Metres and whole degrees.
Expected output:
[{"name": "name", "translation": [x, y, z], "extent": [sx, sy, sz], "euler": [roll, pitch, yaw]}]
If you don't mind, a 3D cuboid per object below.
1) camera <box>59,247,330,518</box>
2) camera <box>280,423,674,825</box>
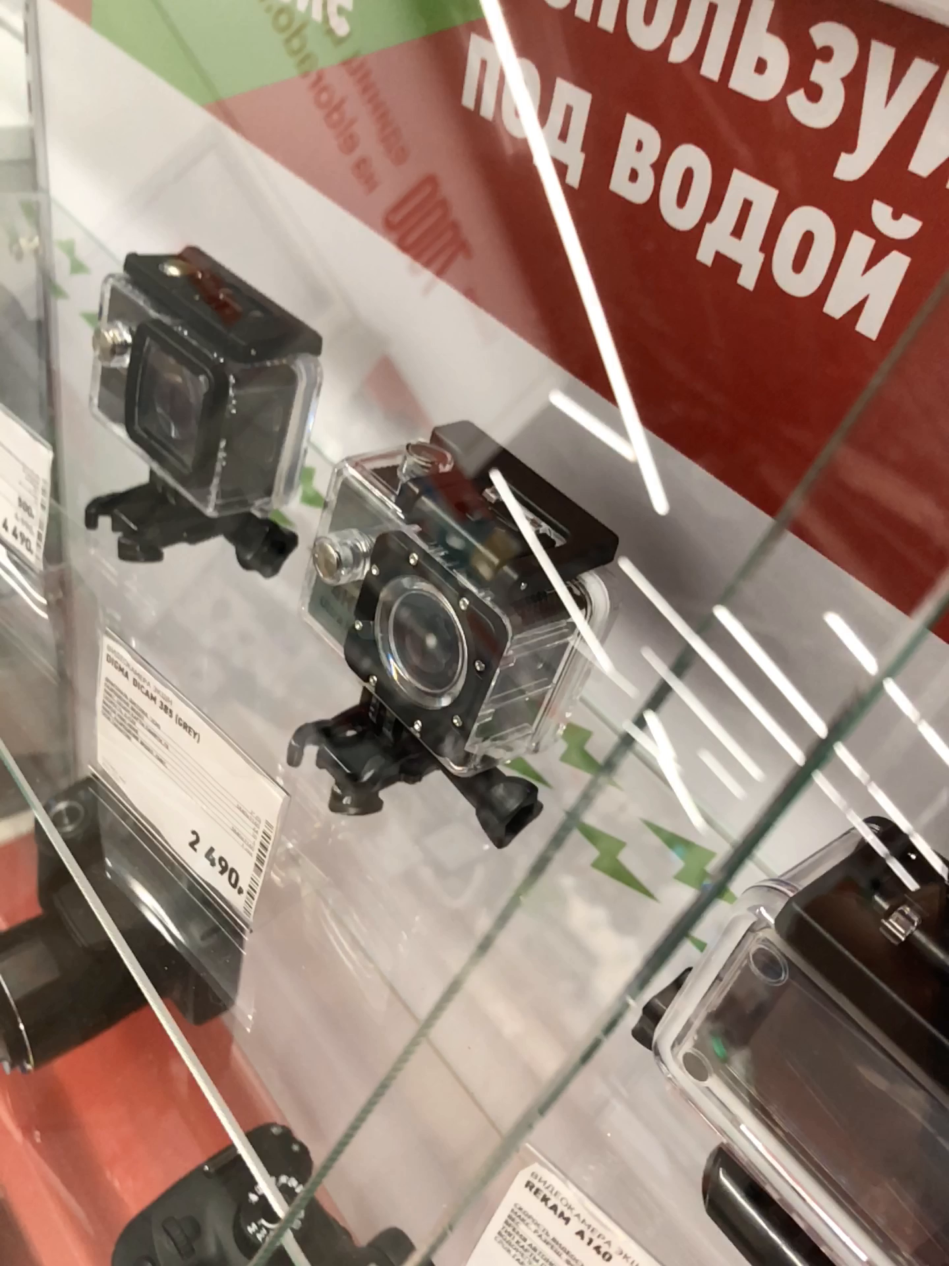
[{"name": "camera", "translation": [-0.083, -0.074, 0.307], "extent": [0.072, 0.045, 0.036], "euler": [40, 37, 27]}, {"name": "camera", "translation": [-0.003, -0.006, 0.263], "extent": [0.048, 0.055, 0.077], "euler": [-19, 50, -40]}]
